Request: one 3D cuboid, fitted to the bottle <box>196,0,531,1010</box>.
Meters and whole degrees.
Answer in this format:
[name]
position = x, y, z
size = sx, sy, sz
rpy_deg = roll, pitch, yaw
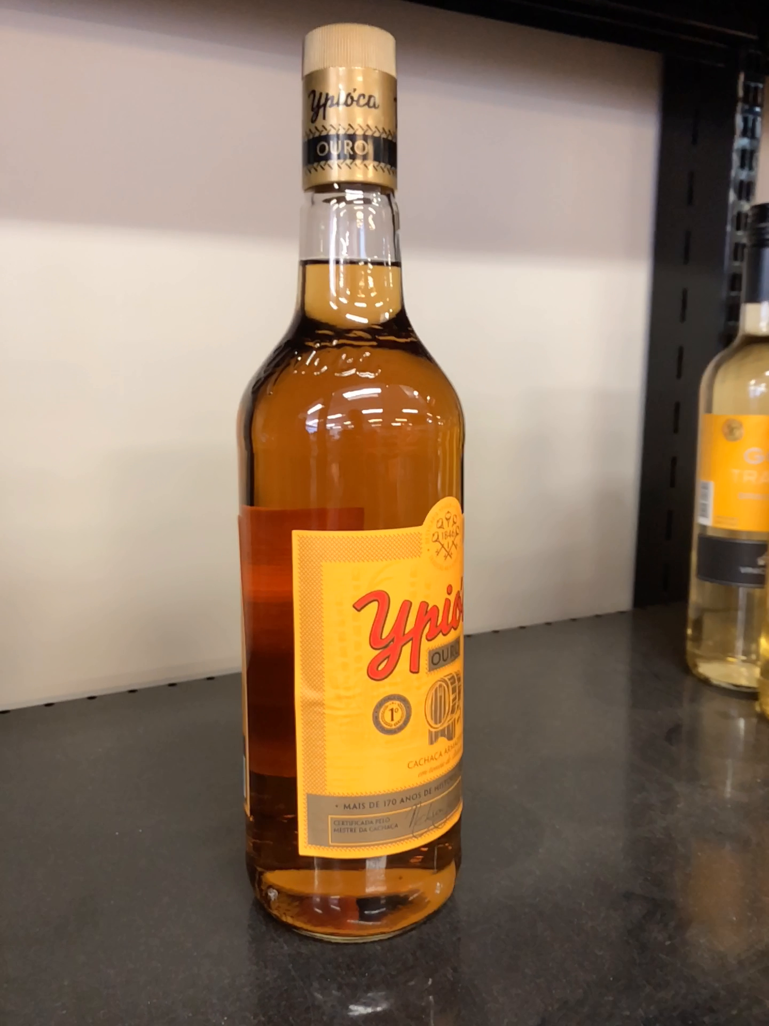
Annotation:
[bottle]
position = -0.009, -0.008, 0.293
size = 0.070, 0.309, 0.080
rpy_deg = 9, 12, 35
